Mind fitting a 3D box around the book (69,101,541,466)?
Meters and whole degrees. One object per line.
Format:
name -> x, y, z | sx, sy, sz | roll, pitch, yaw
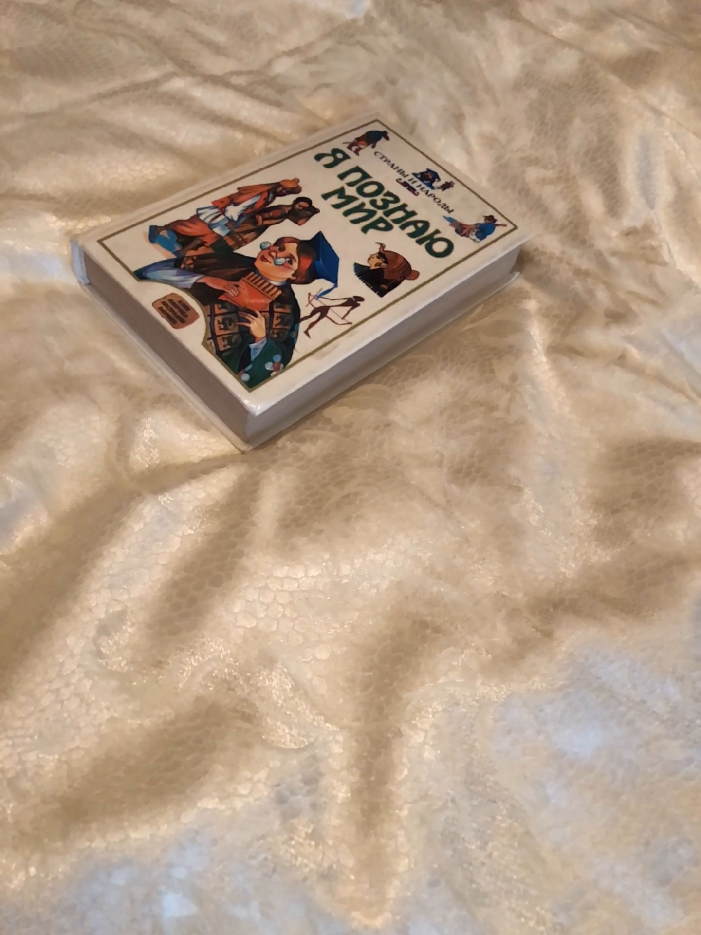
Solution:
book -> -0.017, -0.107, 0.399 | 0.198, 0.037, 0.134 | -37, 71, -29
